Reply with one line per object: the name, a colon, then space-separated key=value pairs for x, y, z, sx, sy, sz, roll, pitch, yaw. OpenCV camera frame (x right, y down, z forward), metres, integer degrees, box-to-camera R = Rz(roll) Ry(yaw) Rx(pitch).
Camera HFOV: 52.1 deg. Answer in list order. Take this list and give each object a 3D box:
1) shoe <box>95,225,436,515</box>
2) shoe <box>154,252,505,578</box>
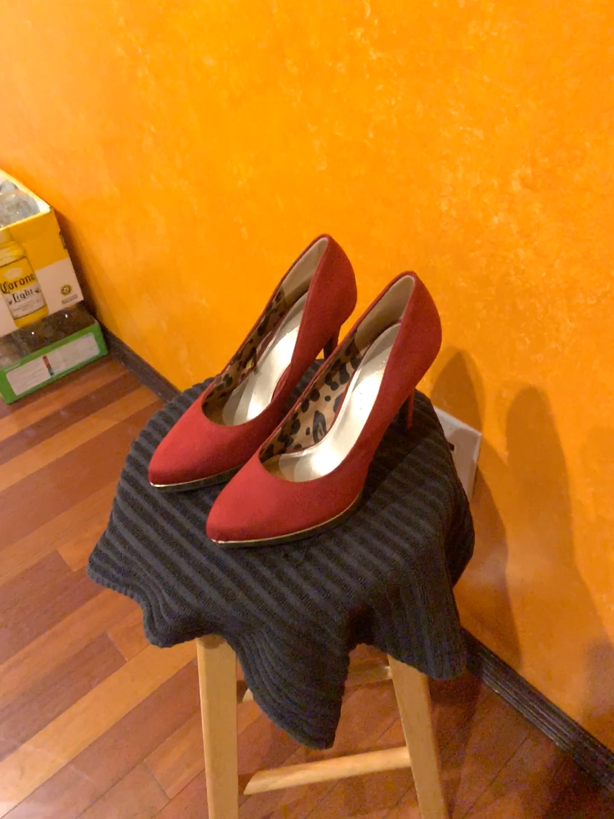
shoe: x=-0.024 y=-0.050 z=0.562 sx=0.290 sy=0.119 sz=0.100 roll=-32 pitch=53 yaw=-33
shoe: x=0.026 y=-0.009 z=0.503 sx=0.270 sy=0.128 sz=0.093 roll=-31 pitch=53 yaw=-32
